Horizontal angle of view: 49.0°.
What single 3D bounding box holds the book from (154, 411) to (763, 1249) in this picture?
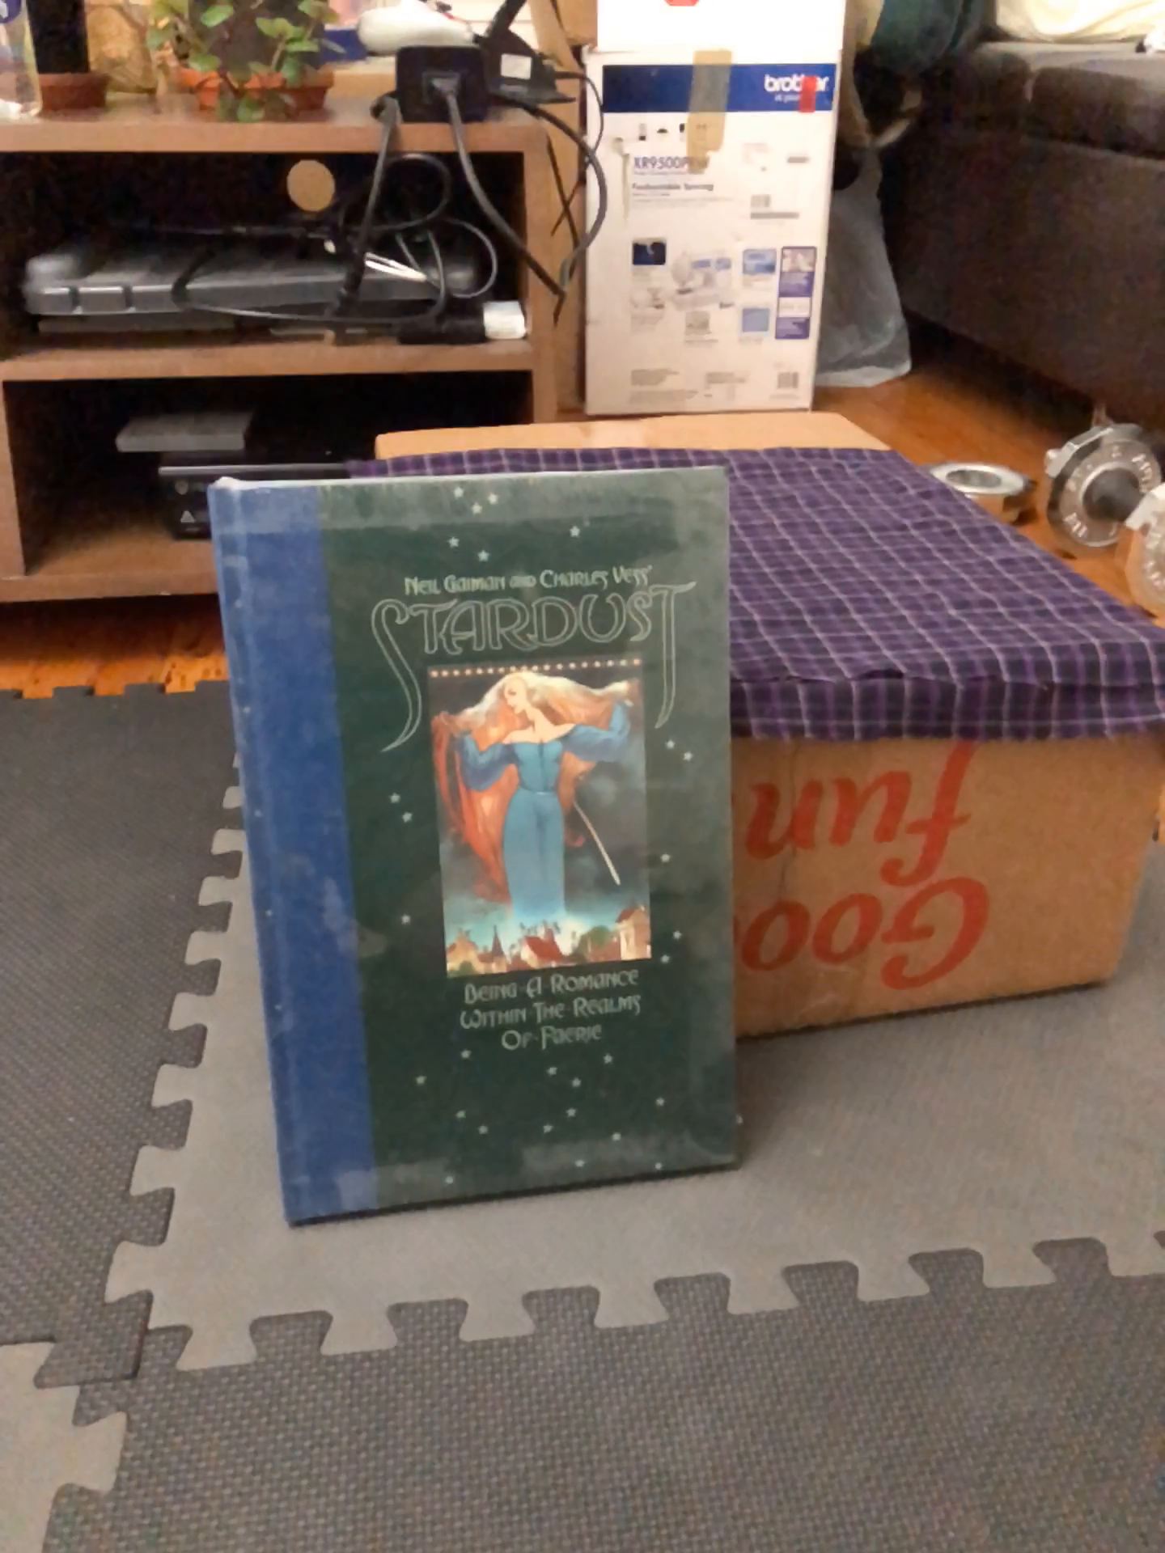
[{"bbox_3d":[-0.040,0.023,0.537,0.220,0.329,0.050,-5,15,-9],"label":"book"}]
